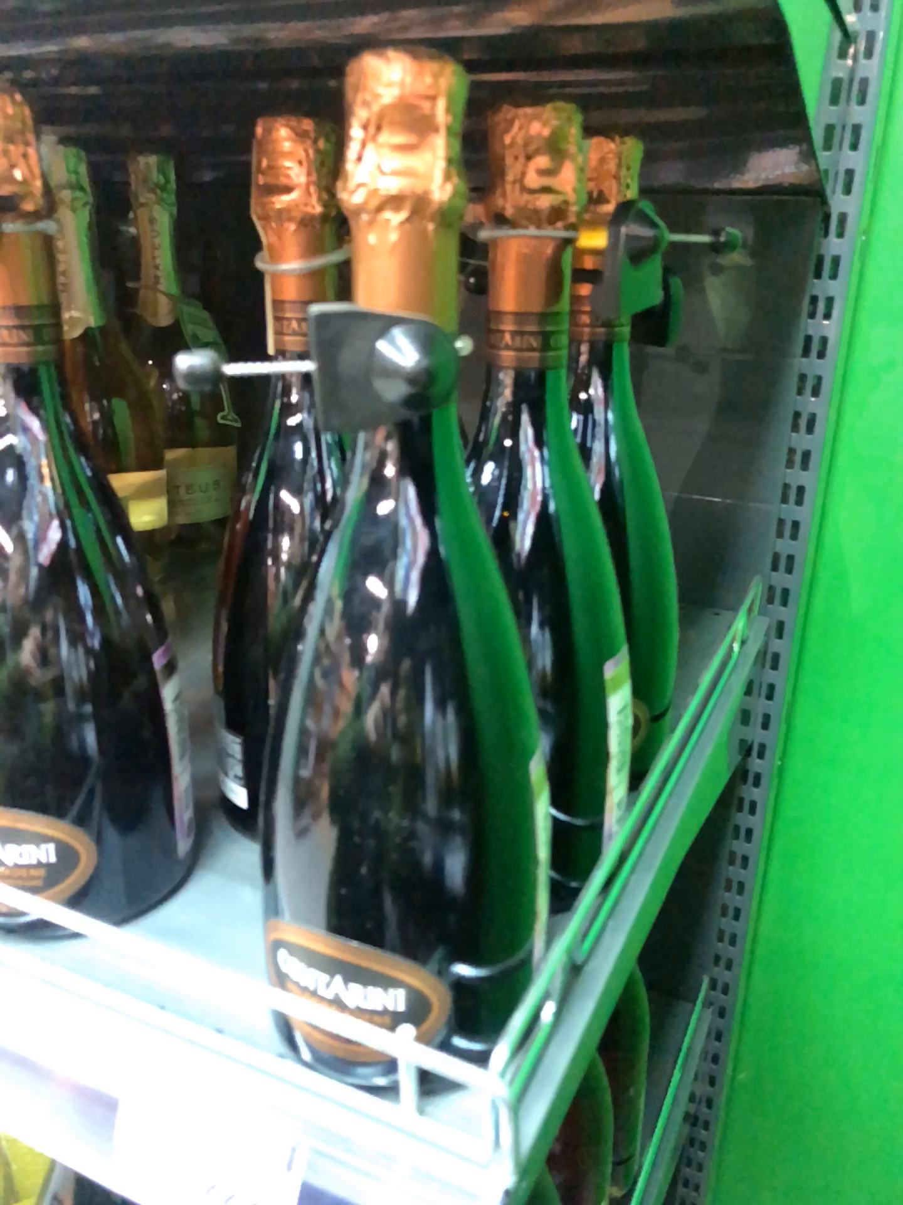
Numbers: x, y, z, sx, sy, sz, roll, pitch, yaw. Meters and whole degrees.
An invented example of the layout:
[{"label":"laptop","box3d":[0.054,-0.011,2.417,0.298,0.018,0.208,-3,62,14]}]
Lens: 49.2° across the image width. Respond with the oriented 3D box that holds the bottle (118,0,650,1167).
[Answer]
[{"label":"bottle","box3d":[-0.014,-0.002,0.297,0.100,0.299,0.100,2,19,-1]}]
